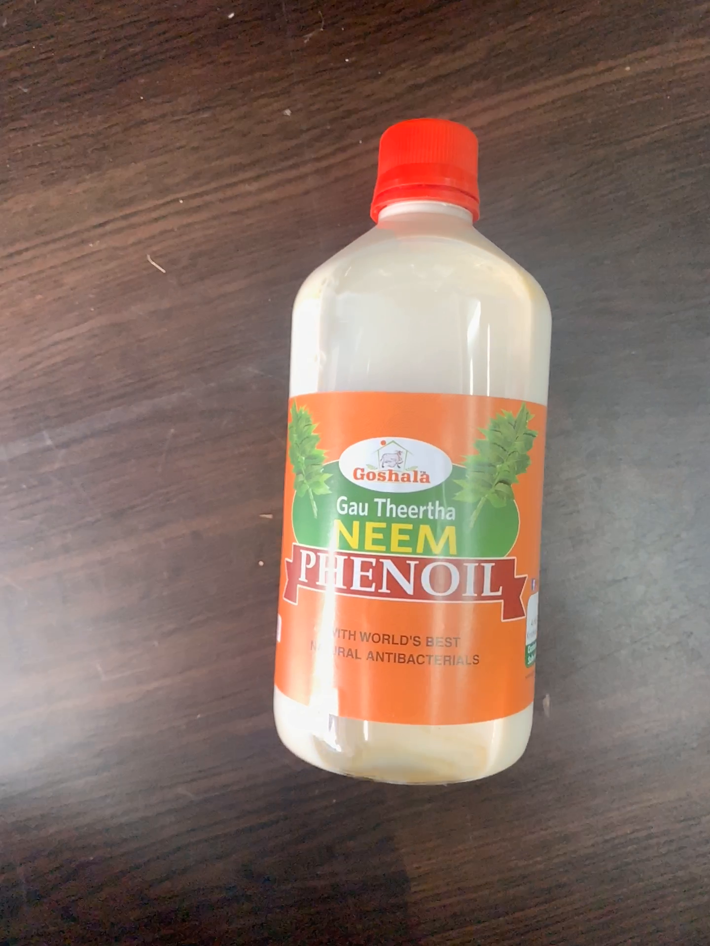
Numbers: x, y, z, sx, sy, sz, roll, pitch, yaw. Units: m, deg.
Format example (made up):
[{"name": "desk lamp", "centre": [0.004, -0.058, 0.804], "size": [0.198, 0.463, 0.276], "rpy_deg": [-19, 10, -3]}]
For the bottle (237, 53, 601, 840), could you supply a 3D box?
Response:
[{"name": "bottle", "centre": [0.016, -0.007, 0.217], "size": [0.080, 0.070, 0.190], "rpy_deg": [3, 92, 3]}]
